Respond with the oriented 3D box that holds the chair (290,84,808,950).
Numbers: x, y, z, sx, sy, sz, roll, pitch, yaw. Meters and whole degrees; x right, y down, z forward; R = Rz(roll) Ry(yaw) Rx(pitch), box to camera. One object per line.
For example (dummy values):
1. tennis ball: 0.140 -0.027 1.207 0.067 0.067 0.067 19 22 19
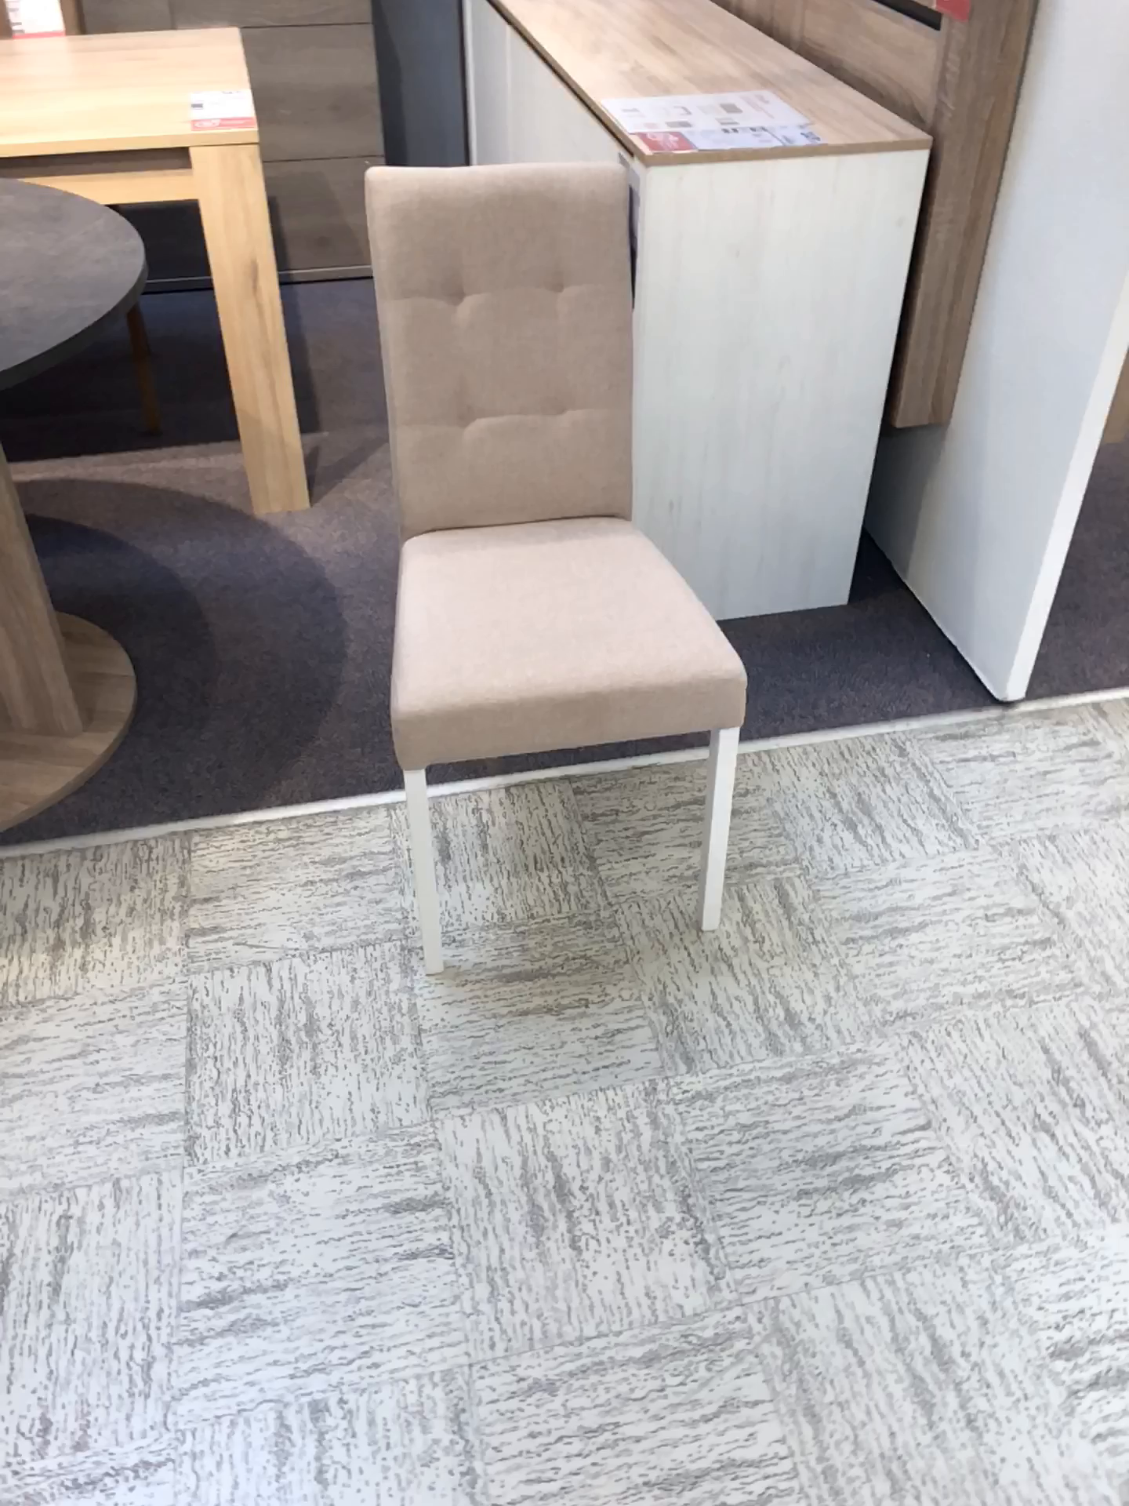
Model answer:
1. chair: -0.051 -0.277 1.514 0.430 0.855 0.533 -7 40 -9
